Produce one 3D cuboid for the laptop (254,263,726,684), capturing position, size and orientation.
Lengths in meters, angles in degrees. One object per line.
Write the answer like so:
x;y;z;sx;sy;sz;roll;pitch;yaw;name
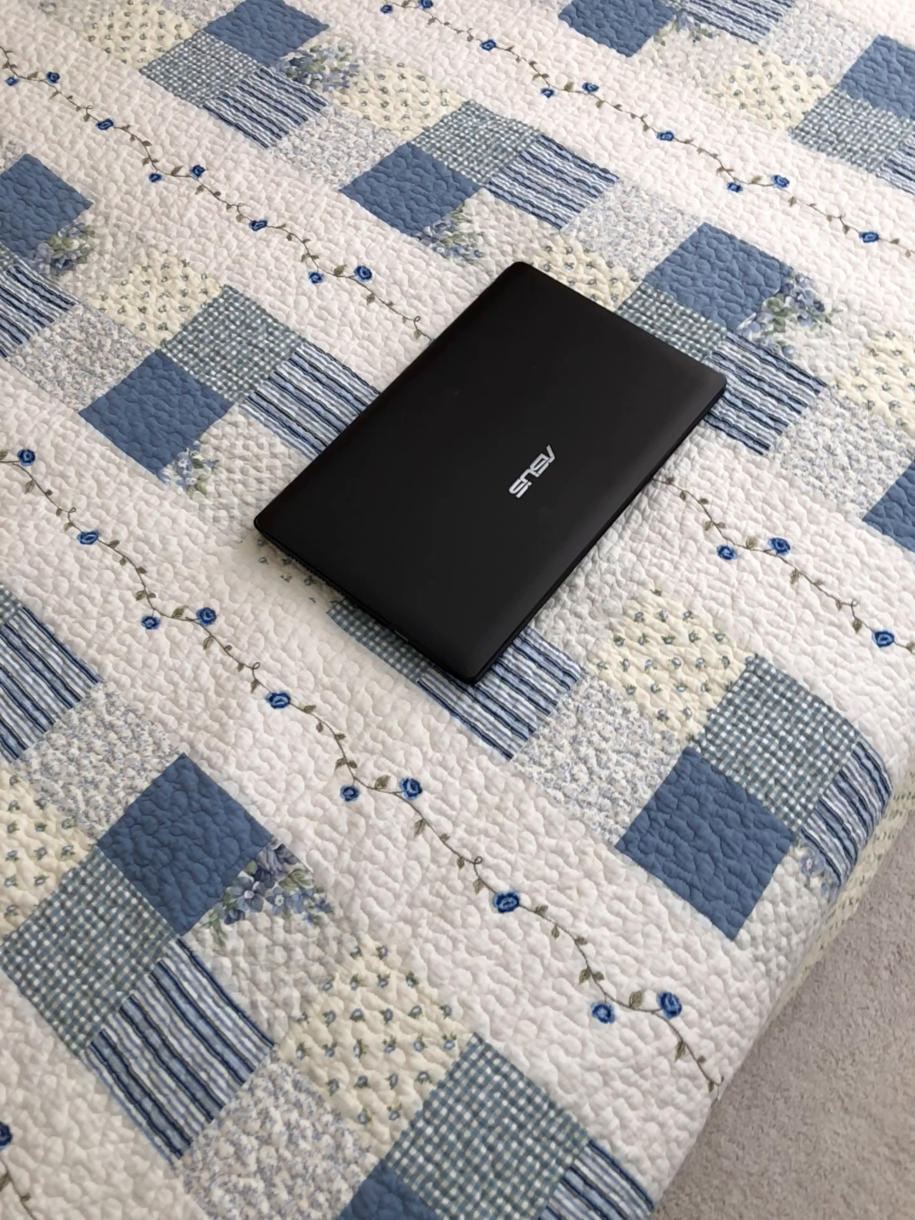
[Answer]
0.034;-0.139;0.888;0.235;0.006;0.369;36;71;17;laptop
